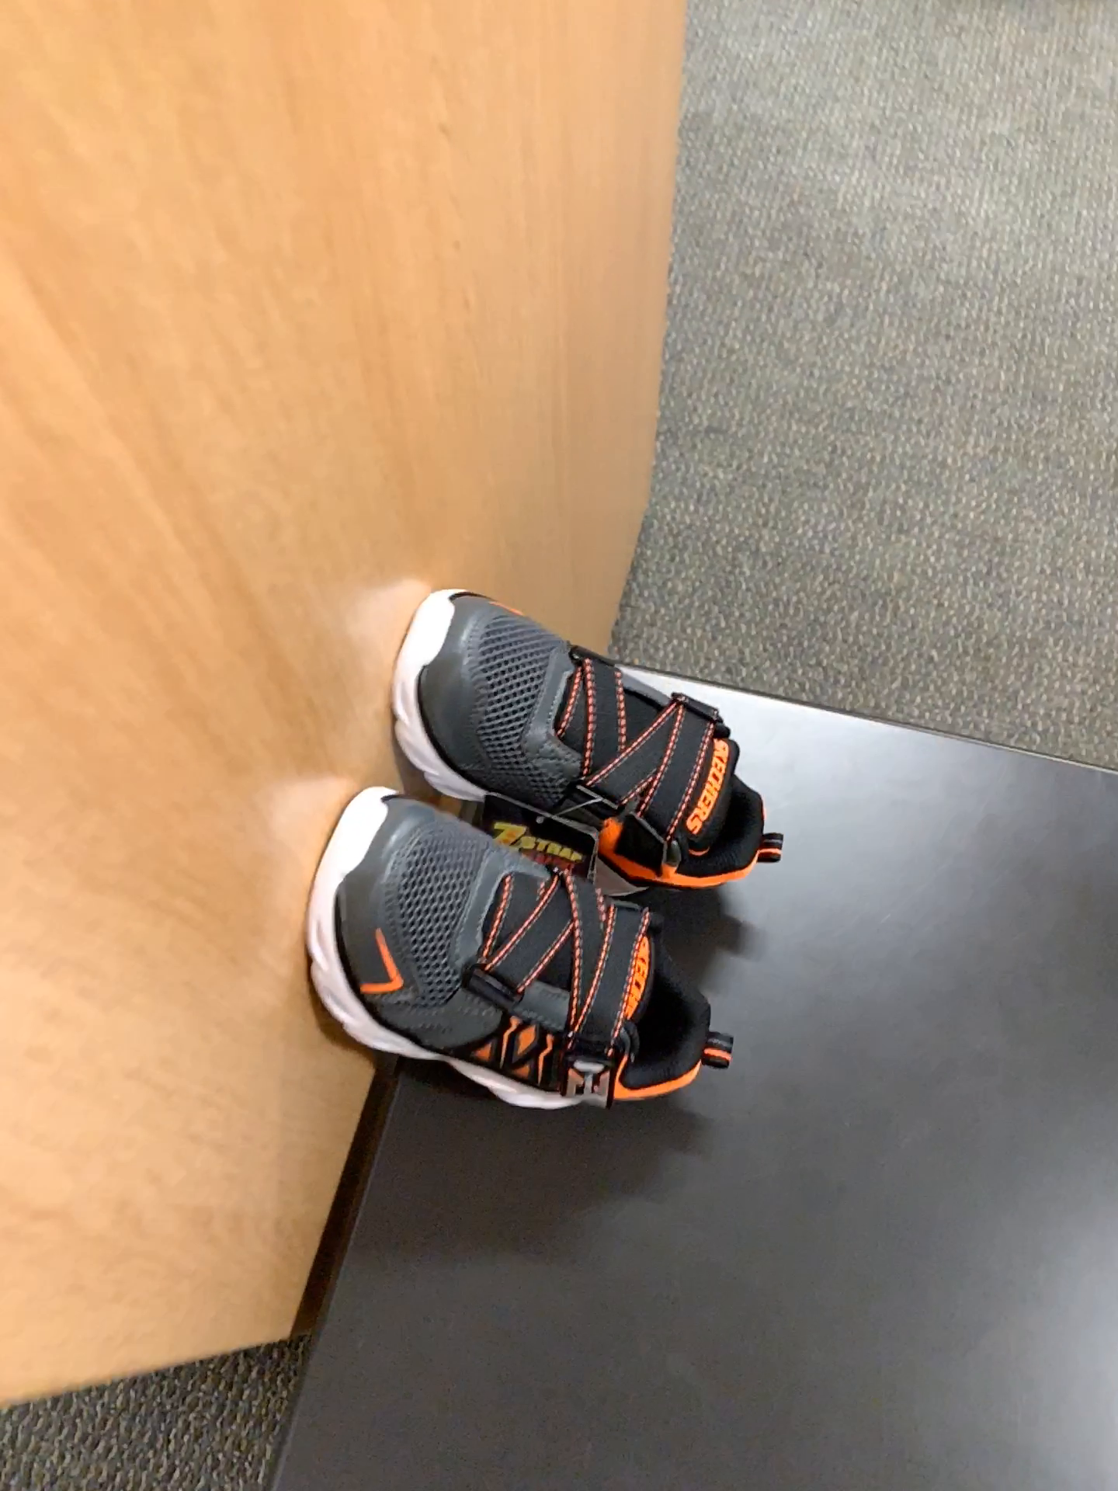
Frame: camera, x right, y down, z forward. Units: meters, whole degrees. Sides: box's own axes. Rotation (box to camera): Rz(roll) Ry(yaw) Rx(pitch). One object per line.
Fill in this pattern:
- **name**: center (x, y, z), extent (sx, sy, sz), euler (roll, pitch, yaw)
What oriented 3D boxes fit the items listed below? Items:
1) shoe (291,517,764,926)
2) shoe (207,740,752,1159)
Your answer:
- **shoe**: center (-0.004, -0.002, 0.503), extent (0.100, 0.180, 0.090), euler (-1, 60, 39)
- **shoe**: center (-0.020, 0.082, 0.445), extent (0.100, 0.180, 0.090), euler (-1, 60, 39)
